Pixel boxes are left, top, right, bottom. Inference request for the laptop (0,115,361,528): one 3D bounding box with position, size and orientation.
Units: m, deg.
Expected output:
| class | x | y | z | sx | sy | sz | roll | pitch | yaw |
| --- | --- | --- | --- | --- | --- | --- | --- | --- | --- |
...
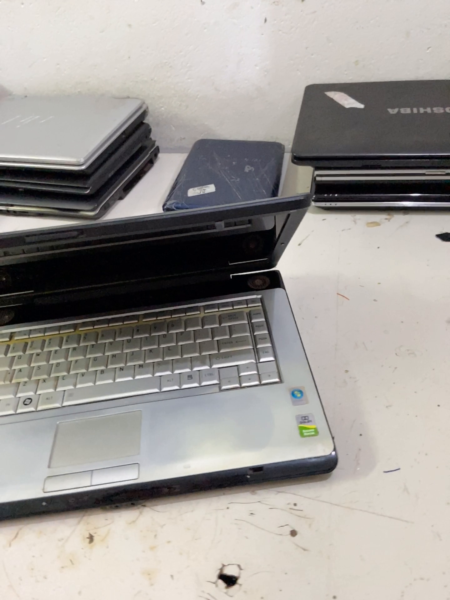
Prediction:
| class | x | y | z | sx | sy | sz | roll | pitch | yaw |
| --- | --- | --- | --- | --- | --- | --- | --- | --- | --- |
| laptop | -0.107 | 0.003 | 0.408 | 0.355 | 0.185 | 0.258 | -8 | 41 | 0 |
